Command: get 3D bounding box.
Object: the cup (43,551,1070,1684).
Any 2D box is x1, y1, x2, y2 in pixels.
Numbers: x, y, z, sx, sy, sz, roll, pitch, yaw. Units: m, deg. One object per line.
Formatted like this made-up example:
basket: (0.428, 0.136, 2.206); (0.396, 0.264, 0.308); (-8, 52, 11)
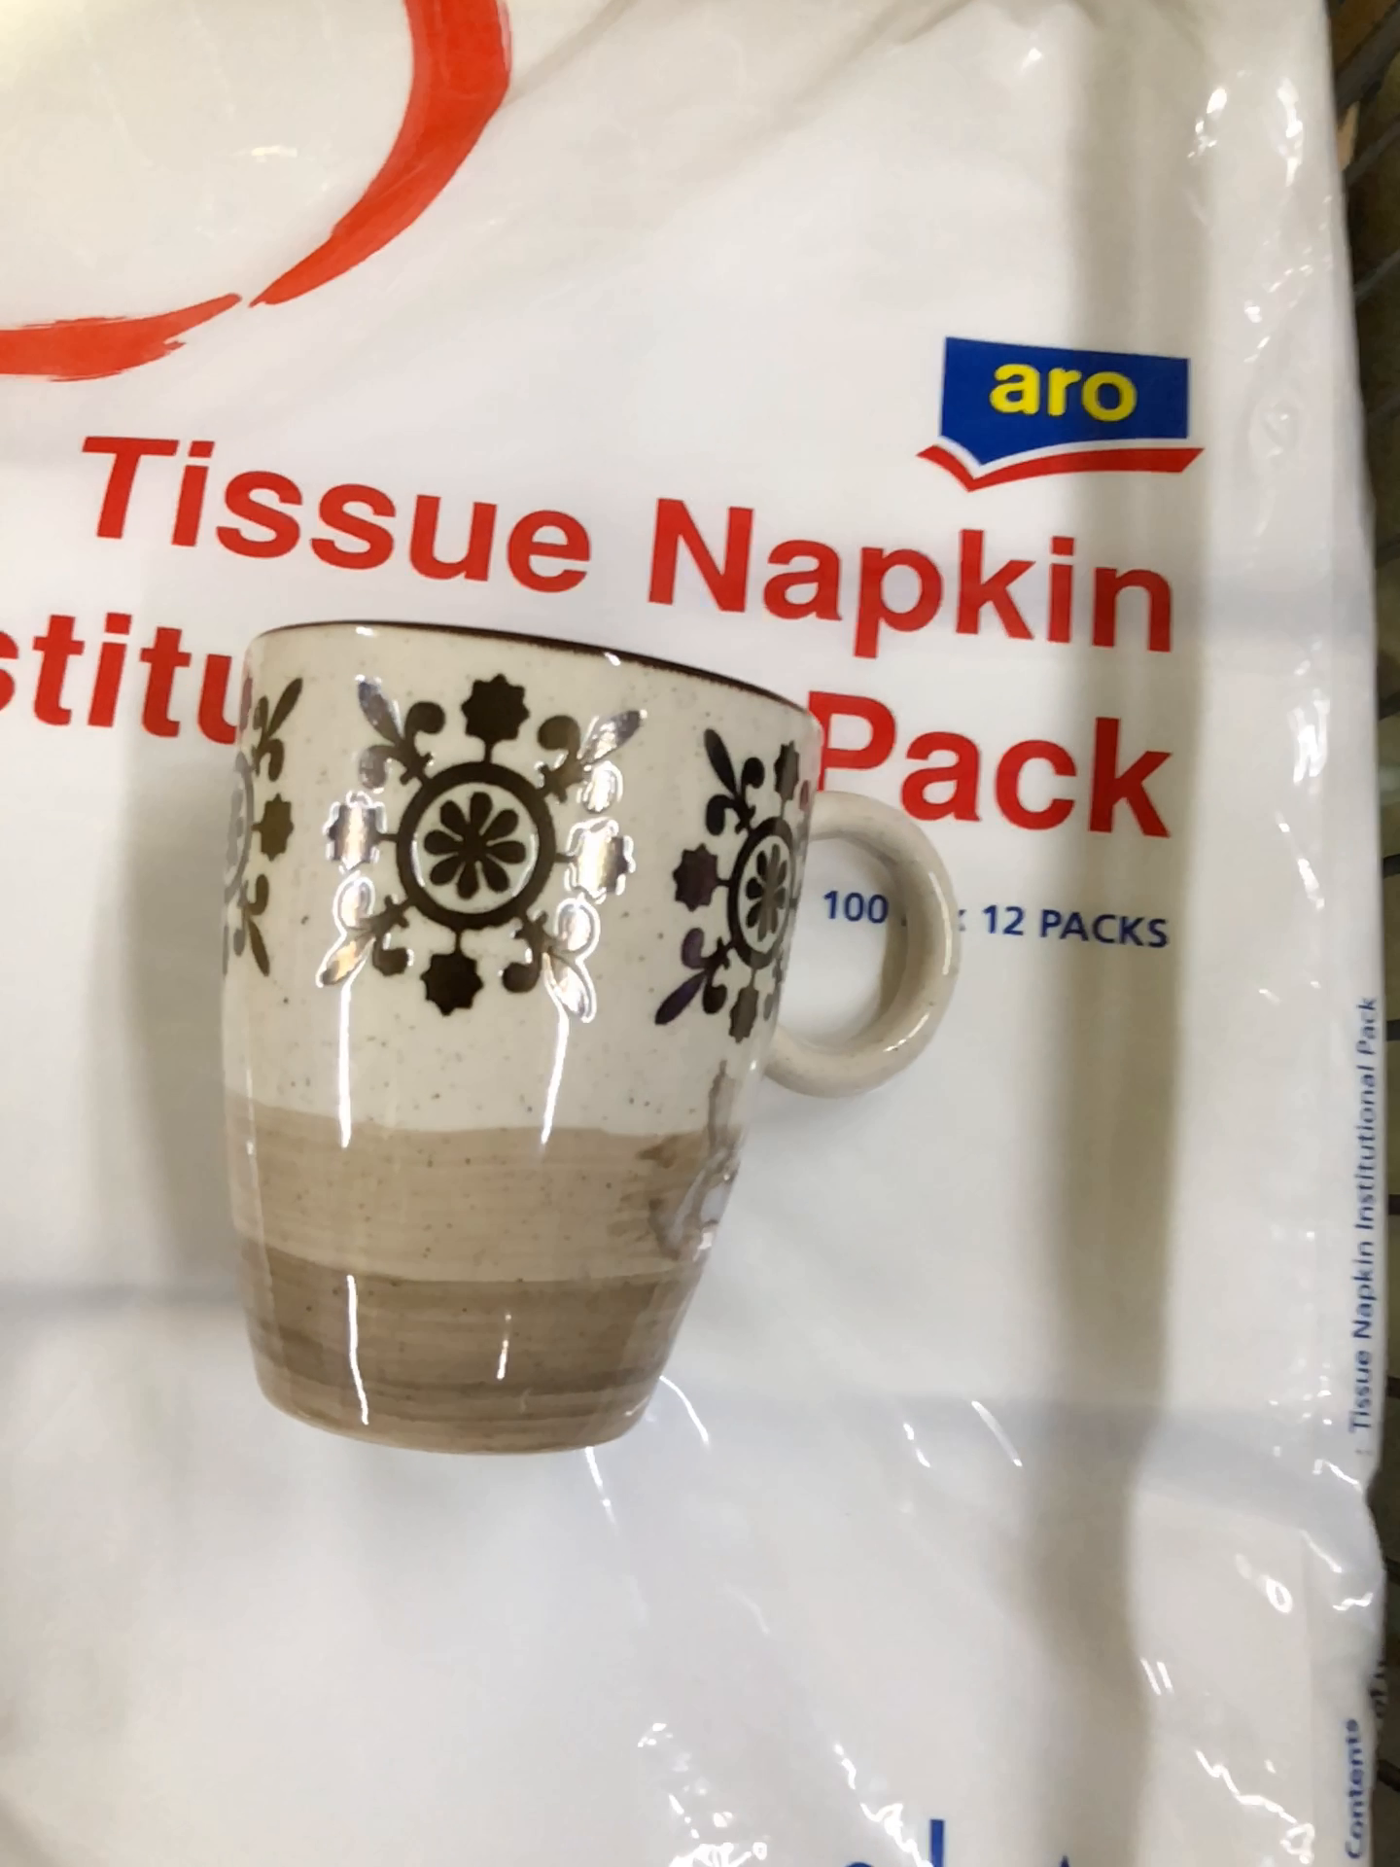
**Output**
cup: (-0.019, 0.024, 0.207); (0.100, 0.070, 0.110); (11, 85, -31)
